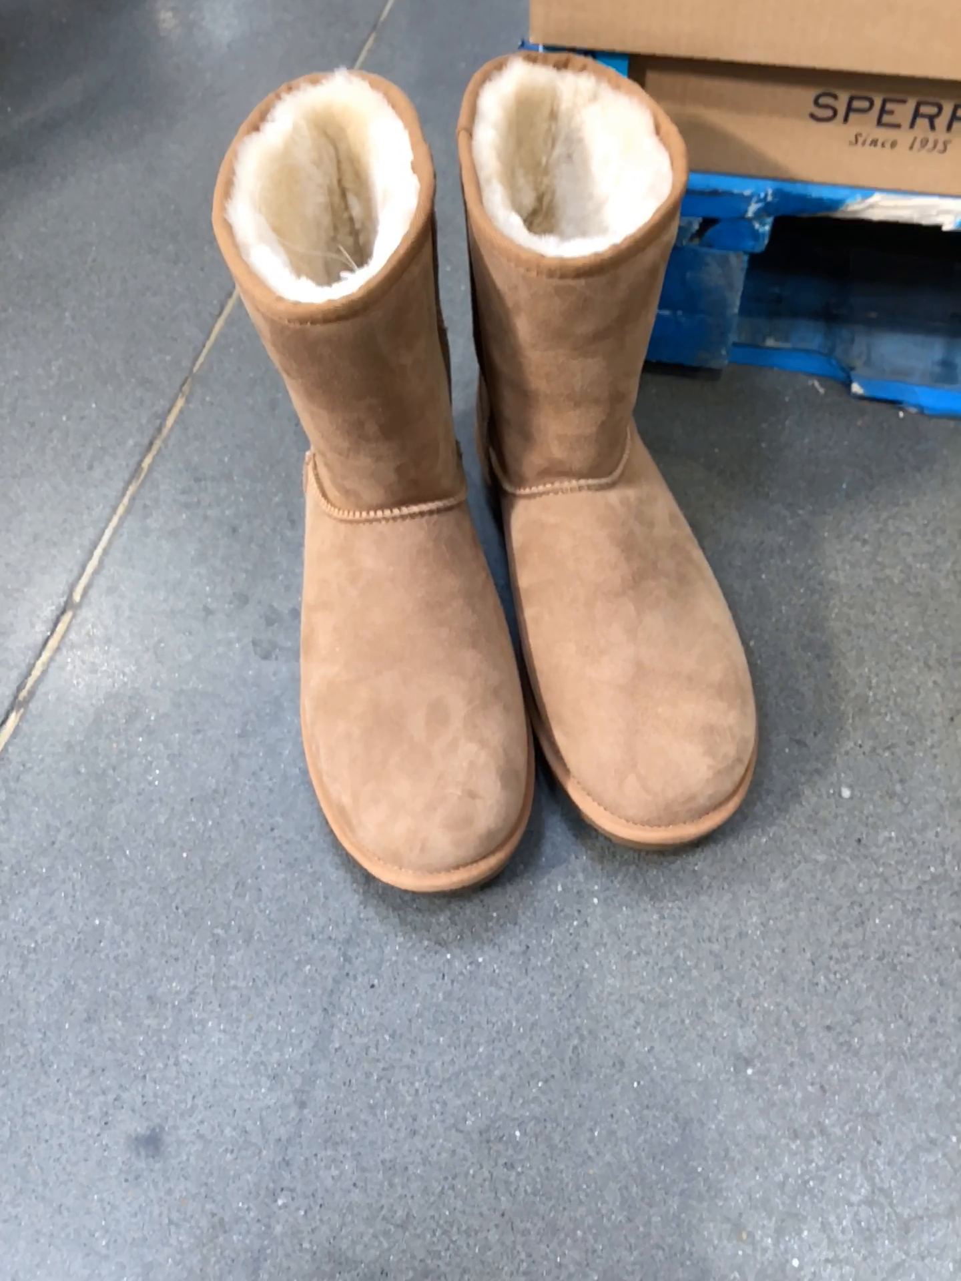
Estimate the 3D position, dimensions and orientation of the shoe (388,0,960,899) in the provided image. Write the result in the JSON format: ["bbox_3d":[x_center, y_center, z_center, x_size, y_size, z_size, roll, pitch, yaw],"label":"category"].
[{"bbox_3d":[0.063,-0.087,0.486,0.130,0.259,0.311,-12,57,-3],"label":"shoe"}]

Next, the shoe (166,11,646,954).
[{"bbox_3d":[-0.033,-0.061,0.480,0.130,0.259,0.311,-9,57,-1],"label":"shoe"}]
